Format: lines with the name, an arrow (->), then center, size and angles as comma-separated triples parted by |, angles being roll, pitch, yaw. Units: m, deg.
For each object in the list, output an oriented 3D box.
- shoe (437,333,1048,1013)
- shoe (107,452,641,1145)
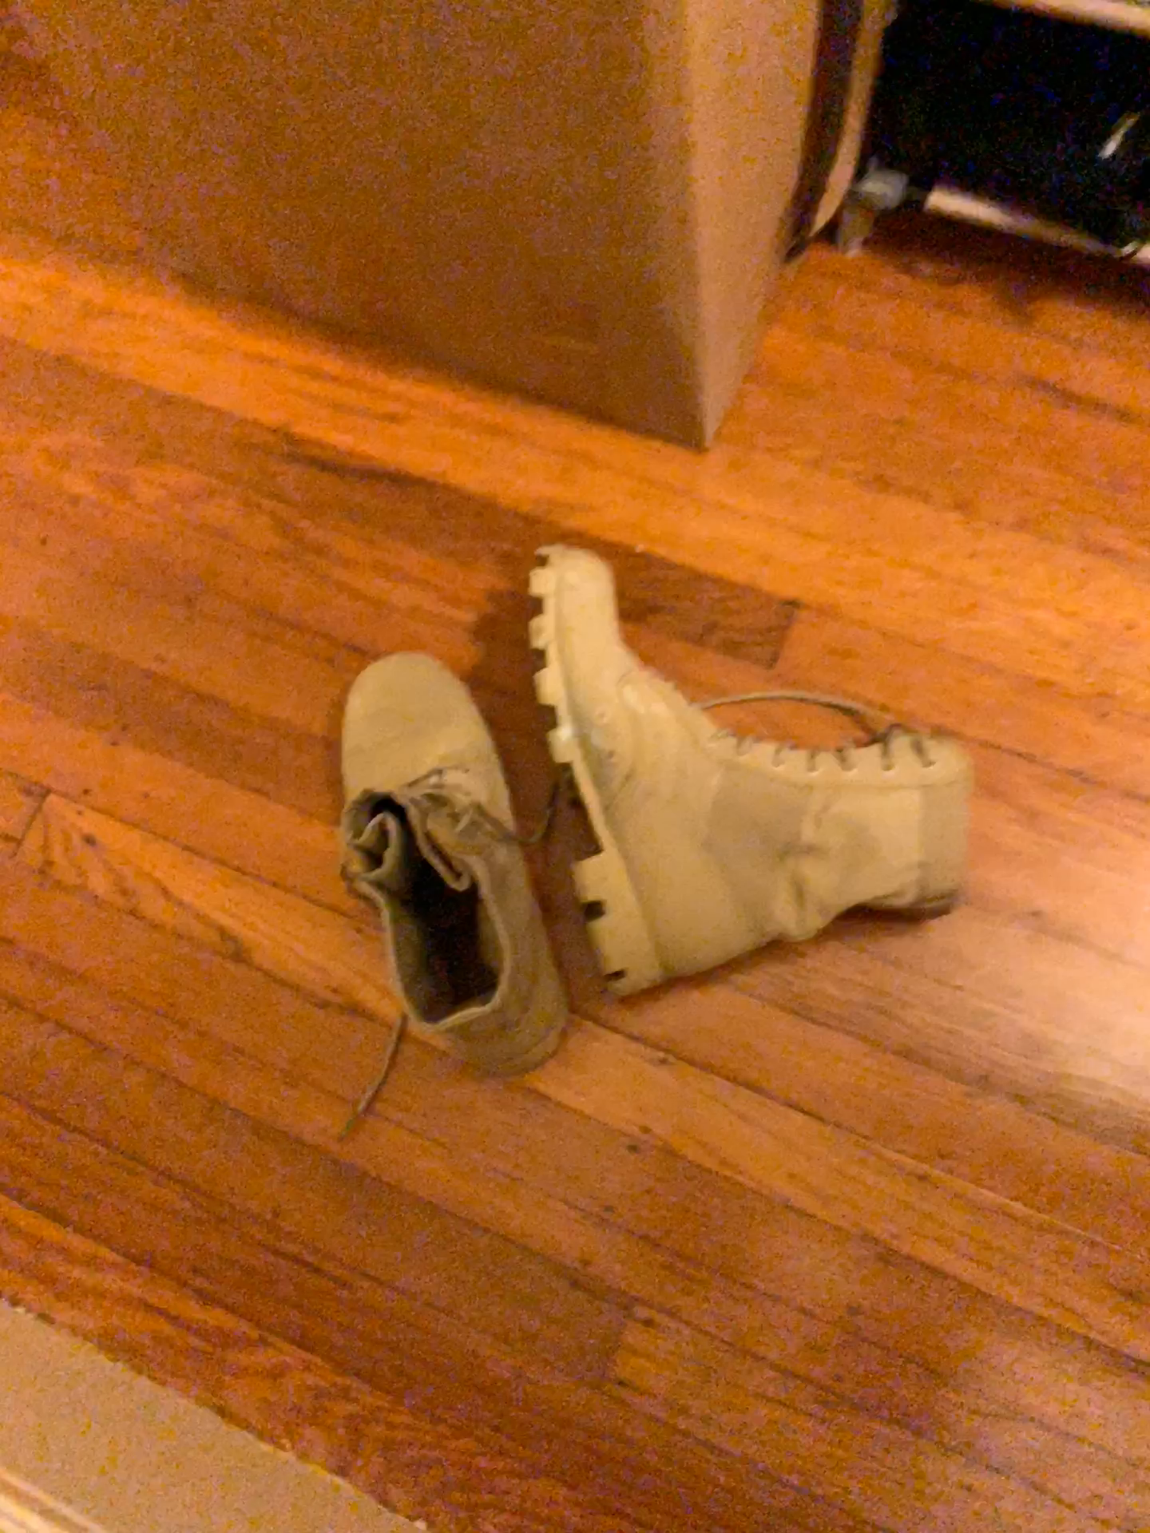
shoe -> 0.085, -0.045, 0.683 | 0.250, 0.120, 0.310 | -16, 72, 9
shoe -> -0.101, 0.031, 0.662 | 0.190, 0.200, 0.300 | -16, 72, 1
